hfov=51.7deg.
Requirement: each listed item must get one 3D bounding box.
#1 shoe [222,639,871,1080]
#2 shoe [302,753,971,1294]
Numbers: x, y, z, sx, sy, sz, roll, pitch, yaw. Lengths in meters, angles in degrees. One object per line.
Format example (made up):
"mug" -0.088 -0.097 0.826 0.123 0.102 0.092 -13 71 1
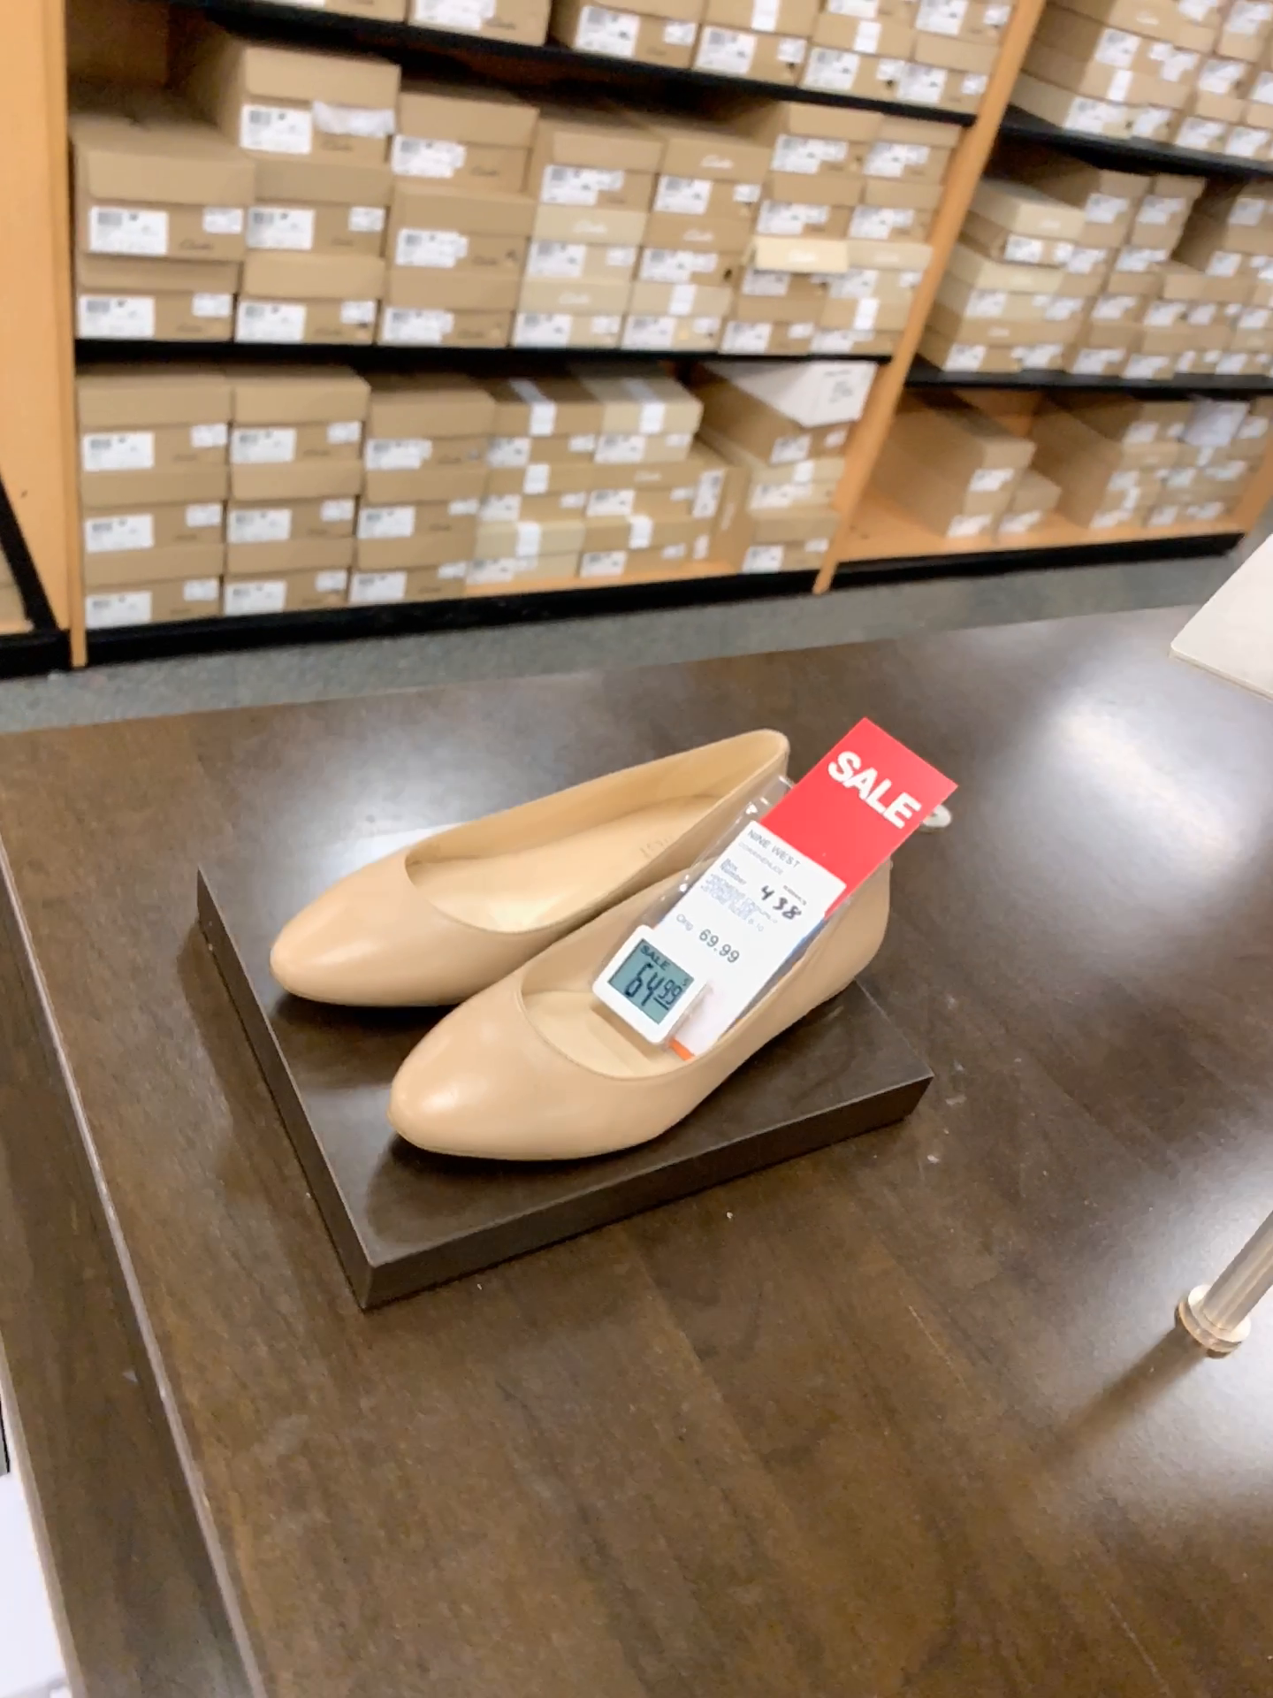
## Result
"shoe" -0.030 -0.008 0.539 0.251 0.080 0.090 -19 50 -37
"shoe" 0.008 0.051 0.504 0.251 0.080 0.090 -22 52 -39
